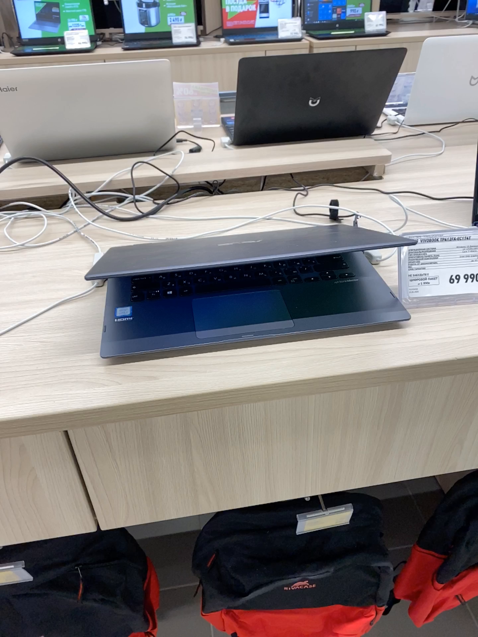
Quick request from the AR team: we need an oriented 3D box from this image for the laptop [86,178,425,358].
[{"bbox_3d":[0.006,-0.077,0.578,0.329,0.079,0.227,-7,36,-7],"label":"laptop"}]
